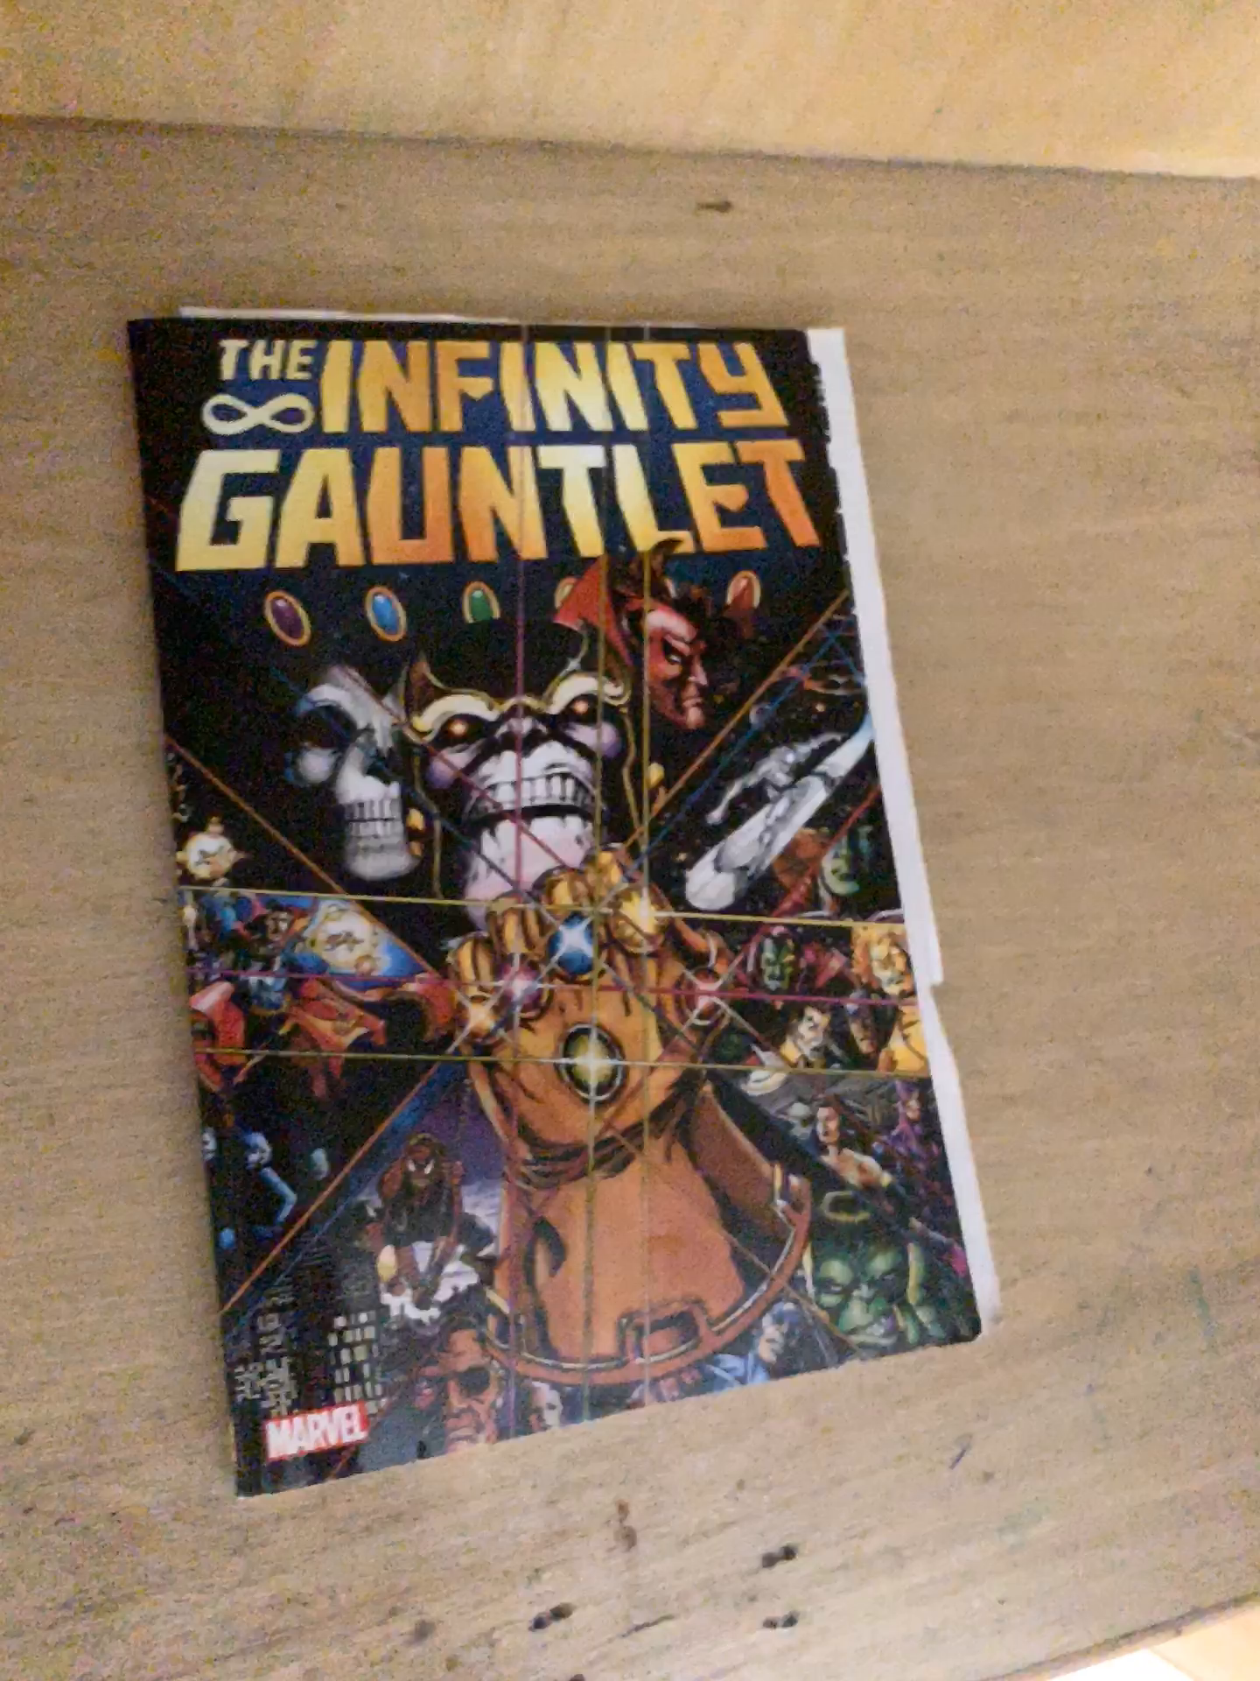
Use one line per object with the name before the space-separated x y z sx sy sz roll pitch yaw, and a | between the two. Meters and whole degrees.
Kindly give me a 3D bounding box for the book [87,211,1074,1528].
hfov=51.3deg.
book | -0.012 -0.010 0.305 0.190 0.030 0.270 -6 82 -15
